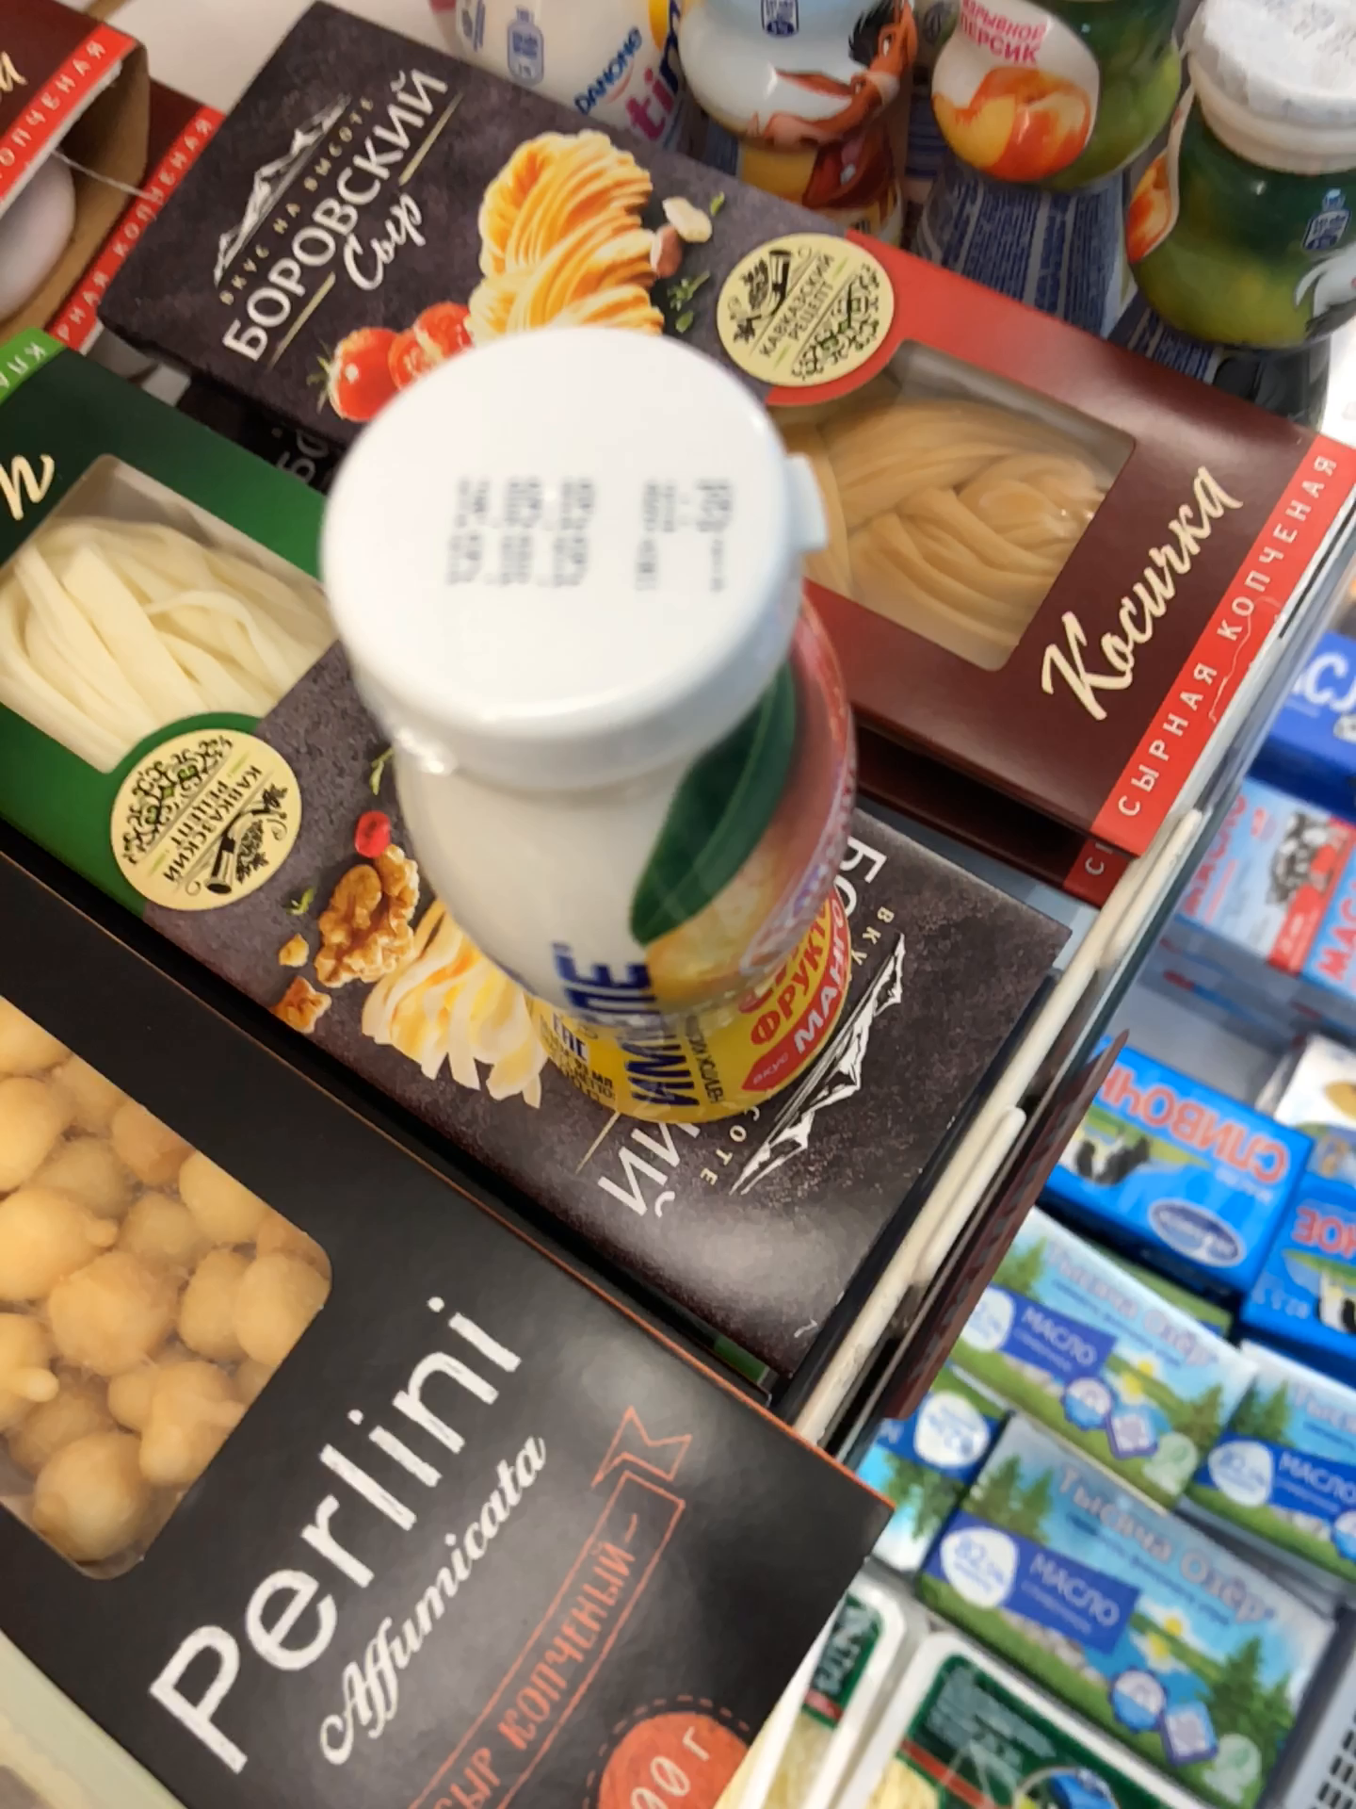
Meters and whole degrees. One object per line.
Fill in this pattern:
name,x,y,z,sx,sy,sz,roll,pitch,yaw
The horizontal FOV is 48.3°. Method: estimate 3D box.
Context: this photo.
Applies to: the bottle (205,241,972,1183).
bottle,-0.001,-0.009,0.154,0.044,0.100,0.046,-2,68,5
